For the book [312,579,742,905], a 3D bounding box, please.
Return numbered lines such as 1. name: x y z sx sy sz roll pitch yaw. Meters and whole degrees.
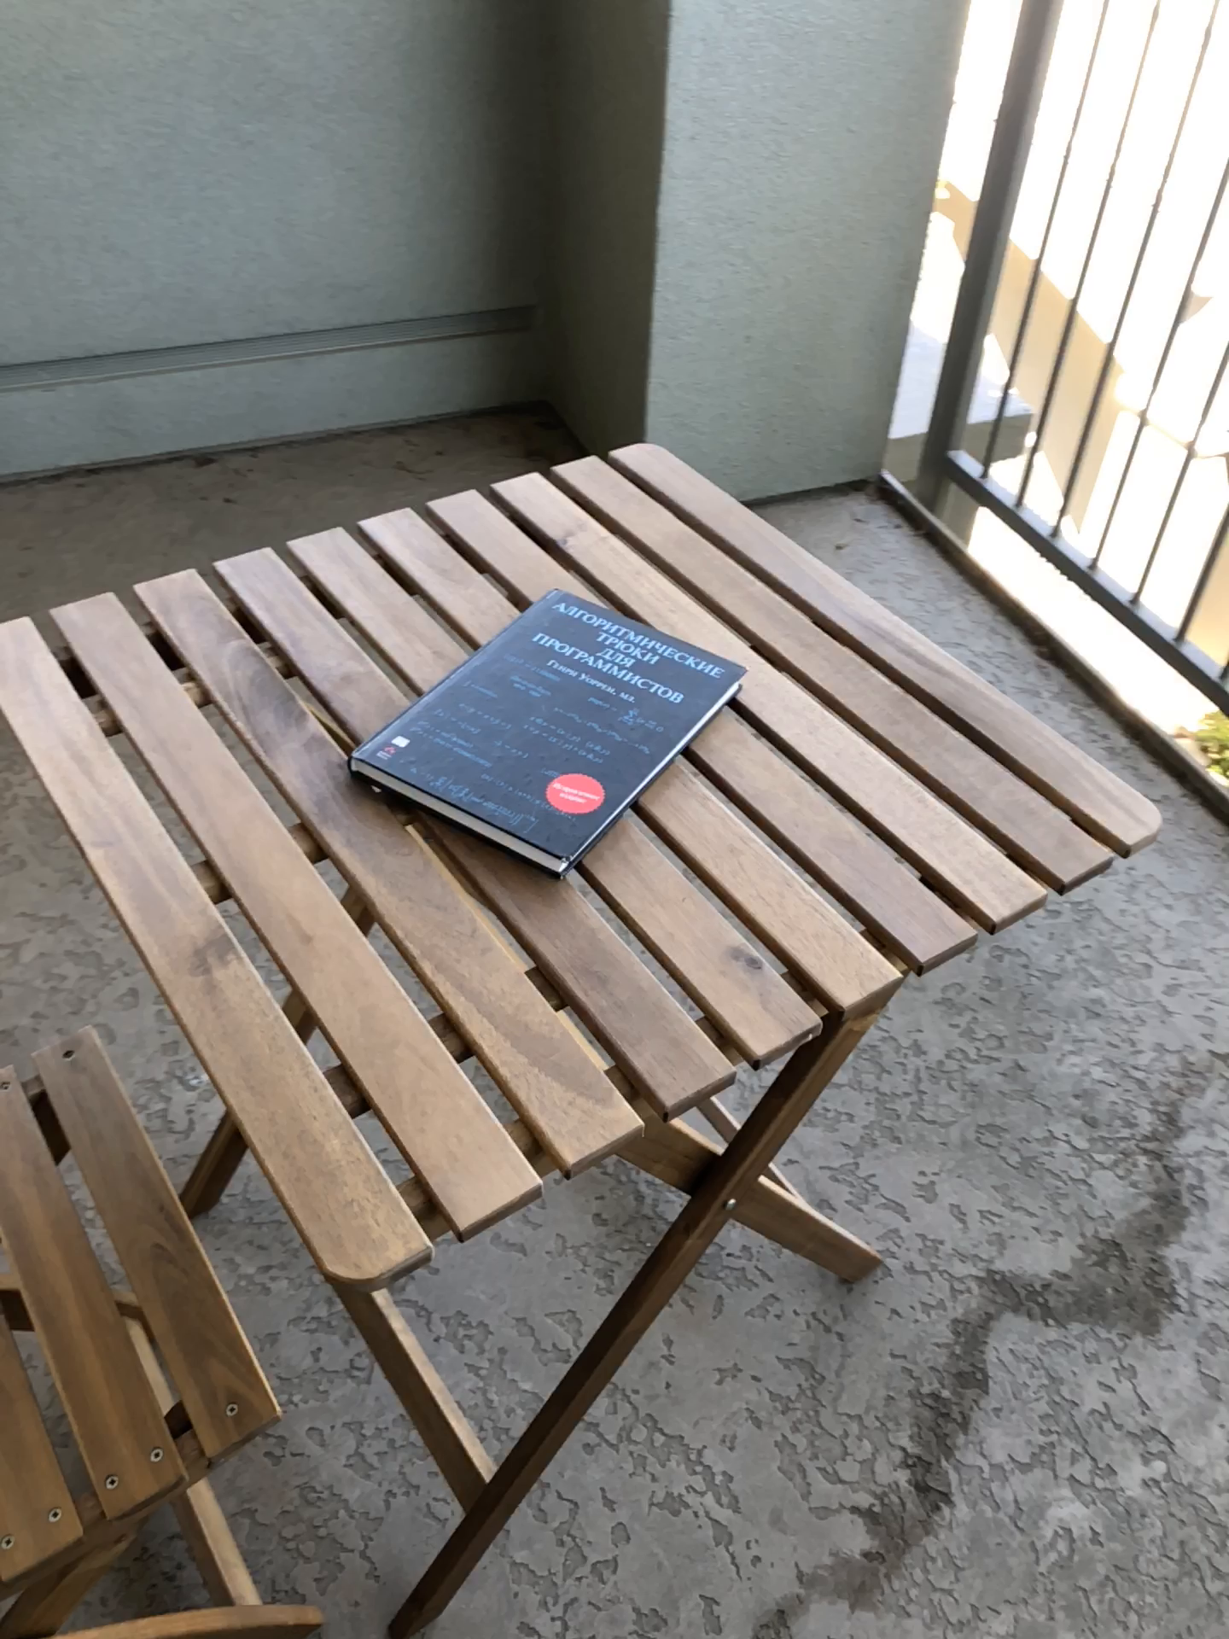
1. book: -0.053 -0.065 0.930 0.180 0.030 0.251 25 47 21
